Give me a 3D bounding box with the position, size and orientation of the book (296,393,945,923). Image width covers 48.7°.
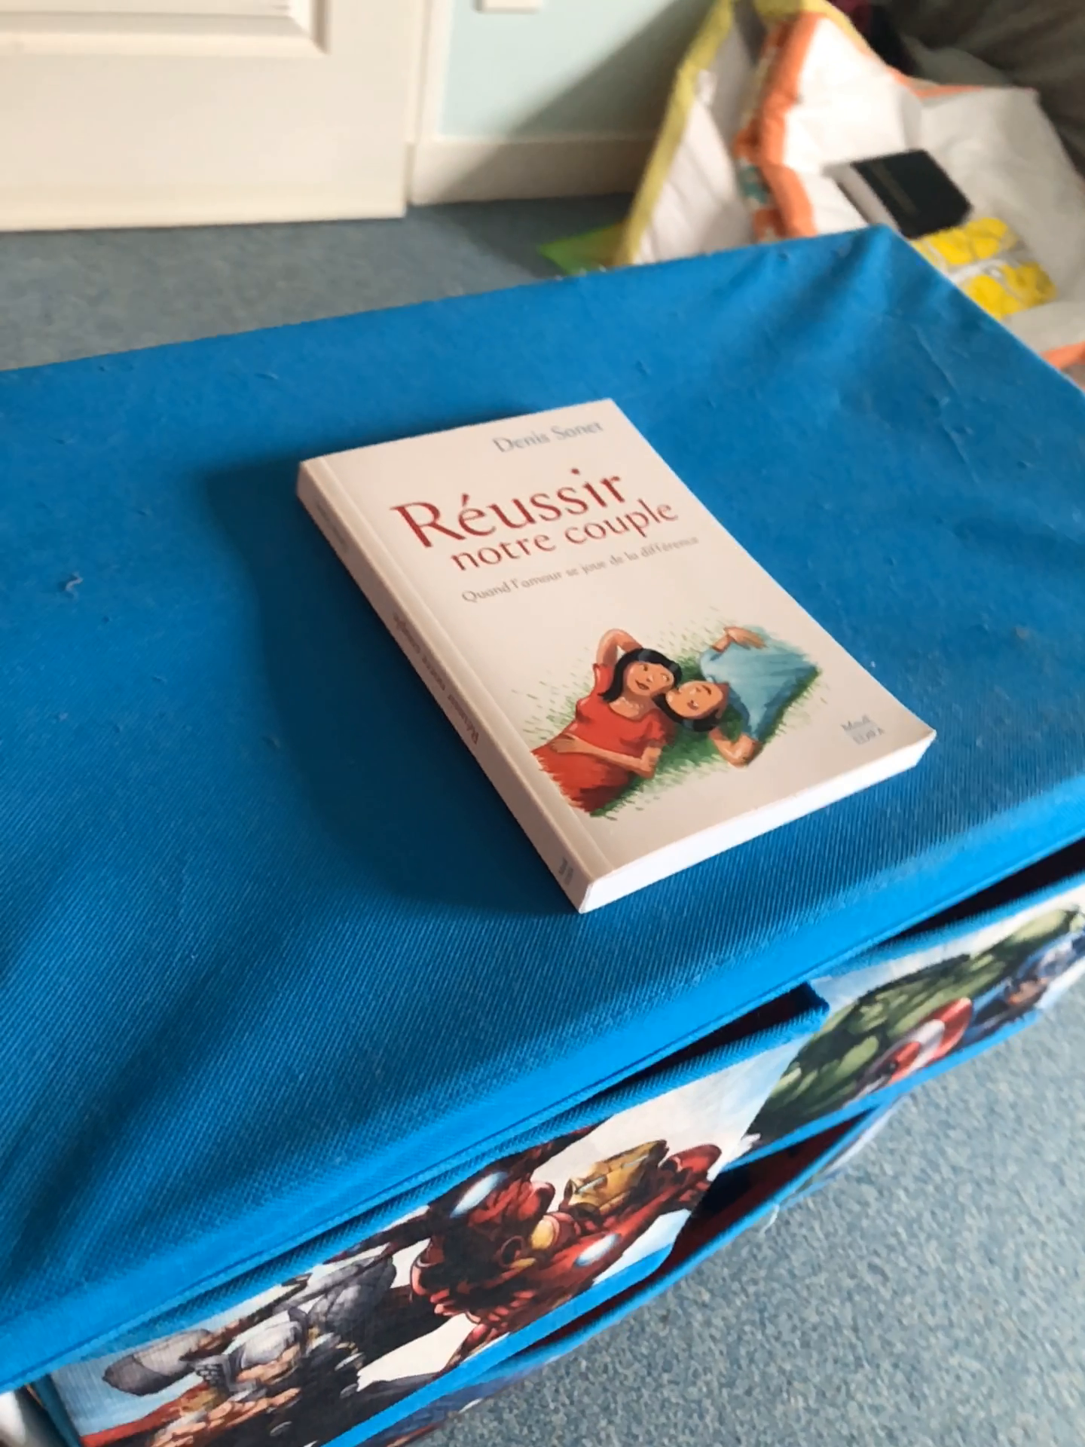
[{"bbox_3d":[0.020,-0.037,0.393,0.135,0.016,0.186,-19,57,-28],"label":"book"}]
